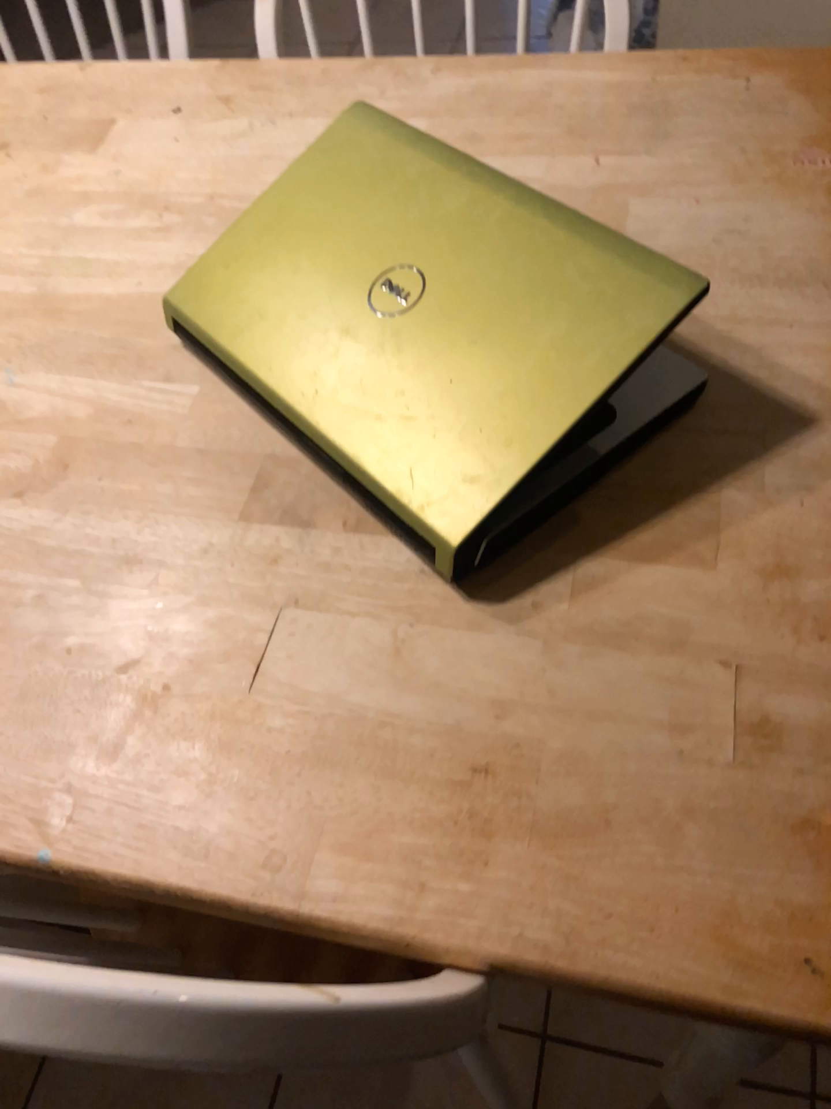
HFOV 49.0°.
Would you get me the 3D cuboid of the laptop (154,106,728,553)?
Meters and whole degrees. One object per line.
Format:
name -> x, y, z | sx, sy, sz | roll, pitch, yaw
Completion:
laptop -> 0.005, -0.189, 0.665 | 0.227, 0.077, 0.359 | -36, 56, -19
